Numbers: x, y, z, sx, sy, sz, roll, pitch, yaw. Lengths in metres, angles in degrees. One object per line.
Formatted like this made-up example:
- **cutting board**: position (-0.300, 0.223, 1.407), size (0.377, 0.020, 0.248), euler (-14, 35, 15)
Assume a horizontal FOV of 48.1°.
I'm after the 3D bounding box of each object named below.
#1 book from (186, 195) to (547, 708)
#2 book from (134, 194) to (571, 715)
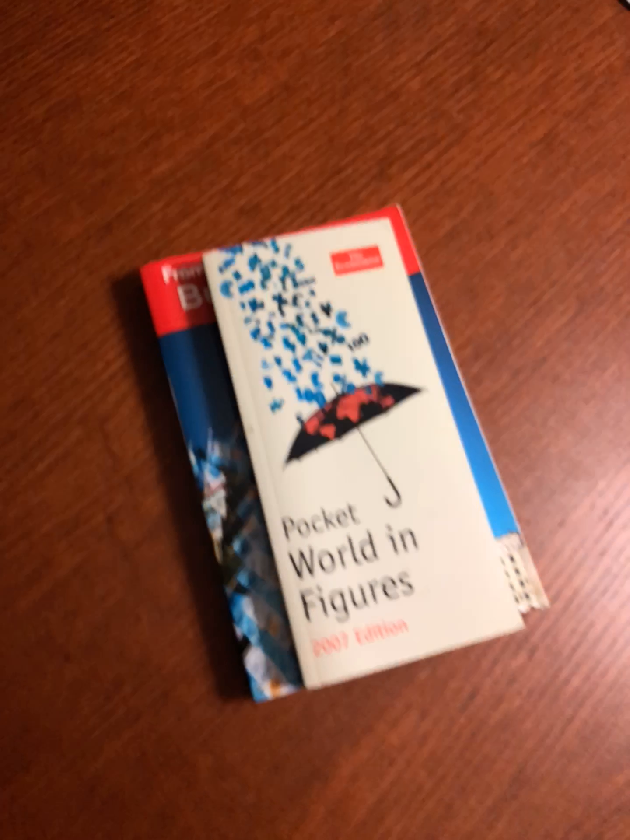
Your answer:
- **book**: position (0.016, 0.004, 0.302), size (0.100, 0.020, 0.200), euler (-13, 75, -7)
- **book**: position (0.011, 0.005, 0.327), size (0.140, 0.020, 0.210), euler (-15, 75, -8)
